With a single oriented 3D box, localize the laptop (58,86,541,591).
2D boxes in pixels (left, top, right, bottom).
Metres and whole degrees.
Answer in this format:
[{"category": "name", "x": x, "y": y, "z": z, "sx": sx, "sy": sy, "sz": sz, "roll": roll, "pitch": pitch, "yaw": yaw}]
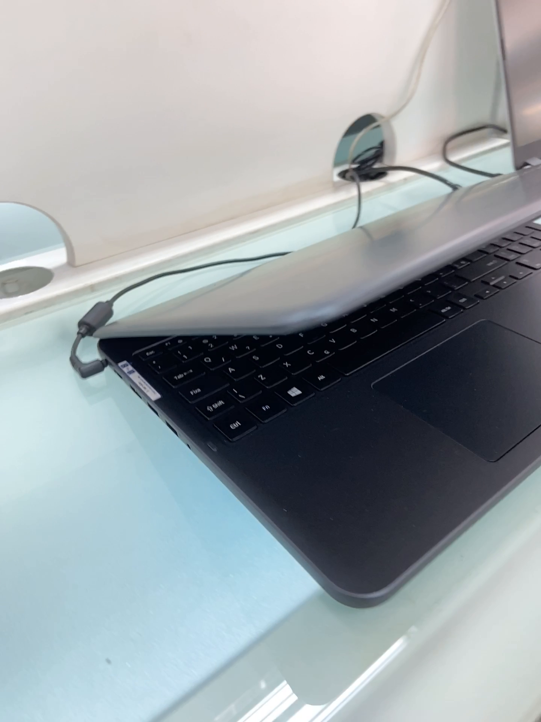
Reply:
[{"category": "laptop", "x": 0.103, "y": -0.079, "z": 0.354, "sx": 0.377, "sy": 0.101, "sz": 0.233, "roll": -26, "pitch": 41, "yaw": -30}]
